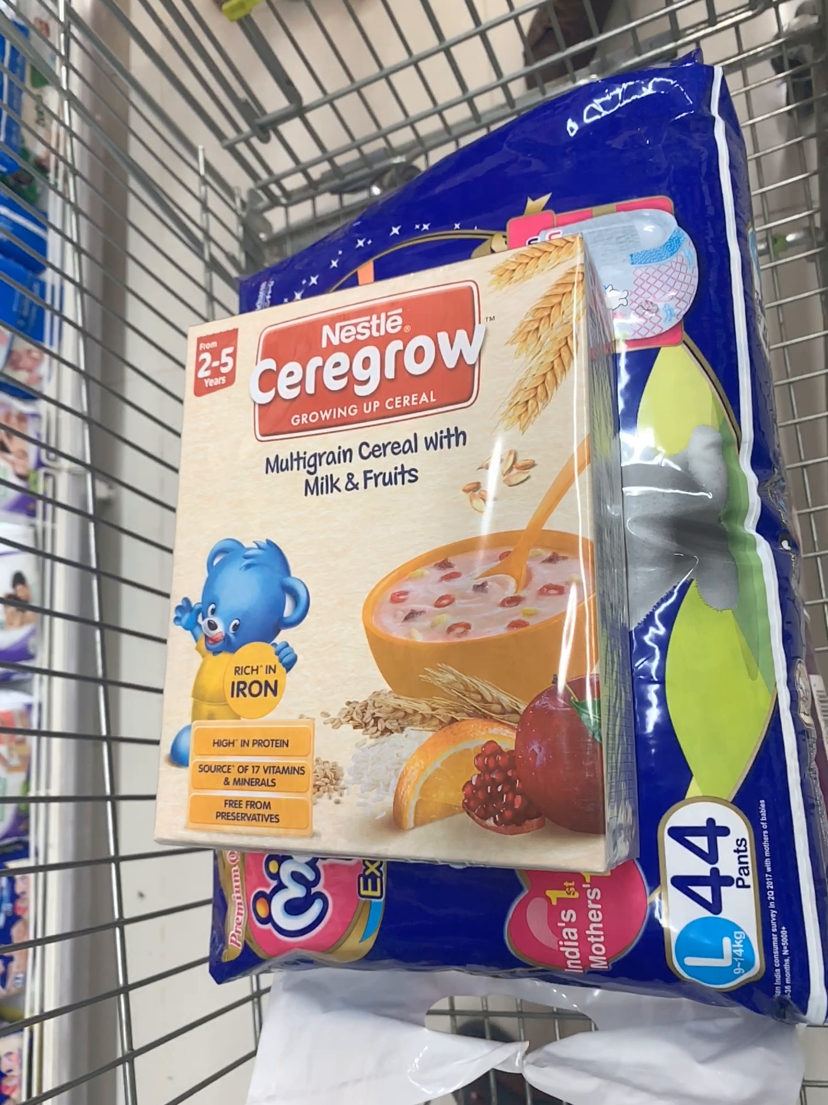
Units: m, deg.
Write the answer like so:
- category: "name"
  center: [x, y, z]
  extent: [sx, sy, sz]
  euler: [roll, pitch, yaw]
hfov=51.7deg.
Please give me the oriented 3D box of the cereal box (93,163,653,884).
- category: "cereal box"
  center: [-0.015, -0.004, 0.274]
  extent: [0.161, 0.050, 0.190]
  euler: [-6, 76, 24]
